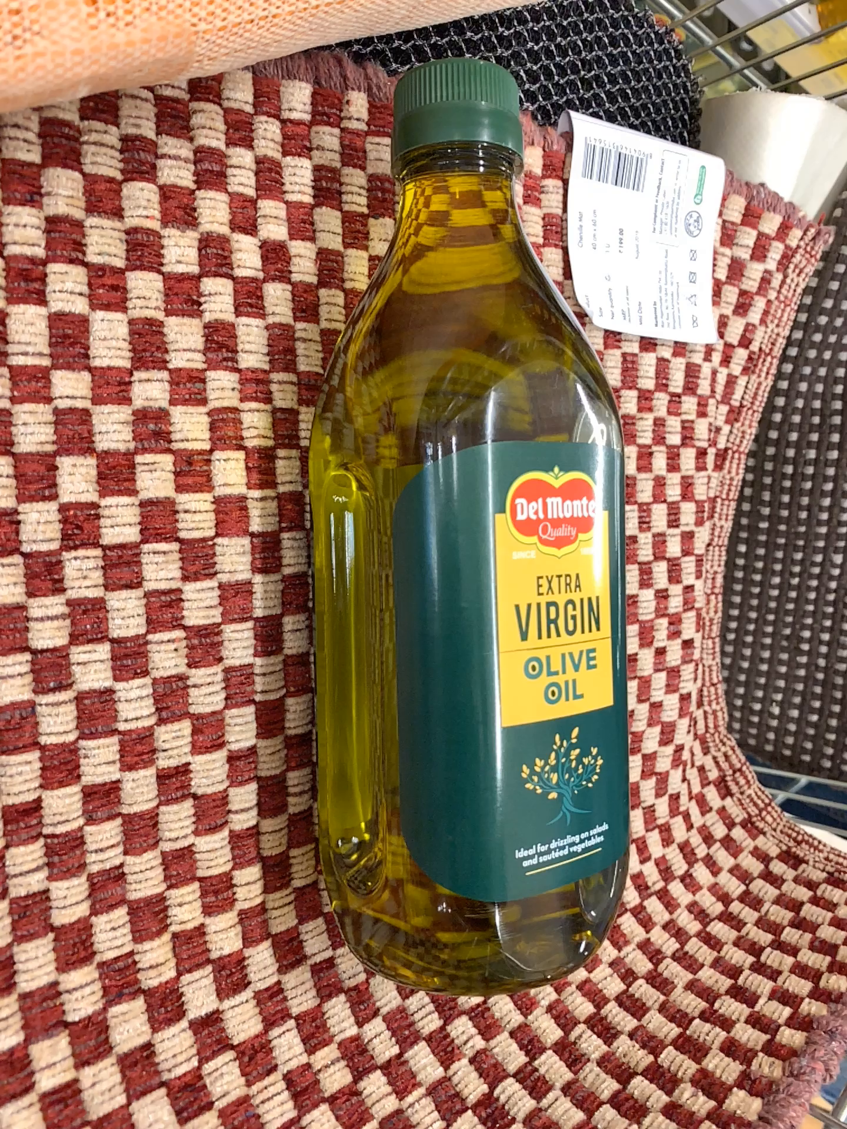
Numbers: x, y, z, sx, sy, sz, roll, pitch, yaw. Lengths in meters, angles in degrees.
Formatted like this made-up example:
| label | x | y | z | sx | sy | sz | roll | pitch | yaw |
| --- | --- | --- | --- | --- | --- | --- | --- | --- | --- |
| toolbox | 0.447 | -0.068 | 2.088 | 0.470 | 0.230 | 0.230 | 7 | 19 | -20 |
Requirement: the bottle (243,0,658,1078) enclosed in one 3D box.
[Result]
| label | x | y | z | sx | sy | sz | roll | pitch | yaw |
| --- | --- | --- | --- | --- | --- | --- | --- | --- | --- |
| bottle | 0.007 | -0.015 | 0.242 | 0.080 | 0.080 | 0.250 | -1 | 92 | -45 |
